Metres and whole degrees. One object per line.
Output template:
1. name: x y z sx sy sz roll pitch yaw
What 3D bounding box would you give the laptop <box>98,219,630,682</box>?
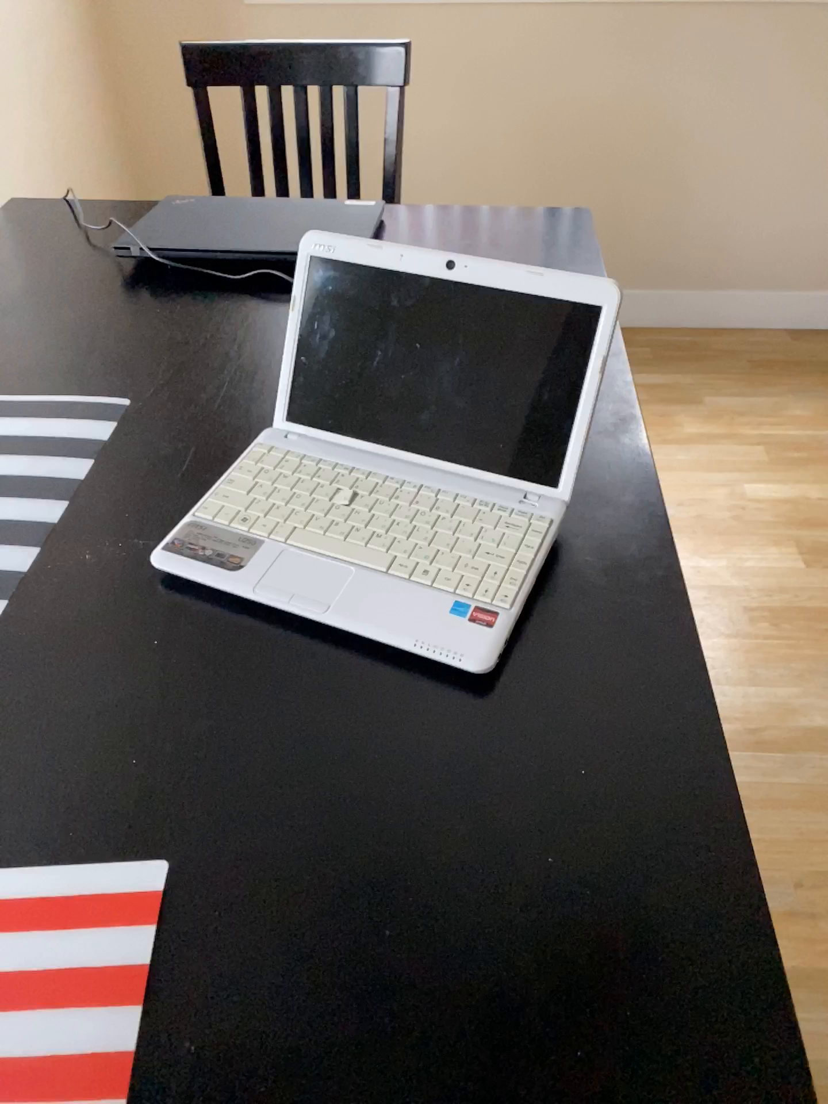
1. laptop: -0.021 -0.106 0.675 0.295 0.153 0.302 16 47 18
